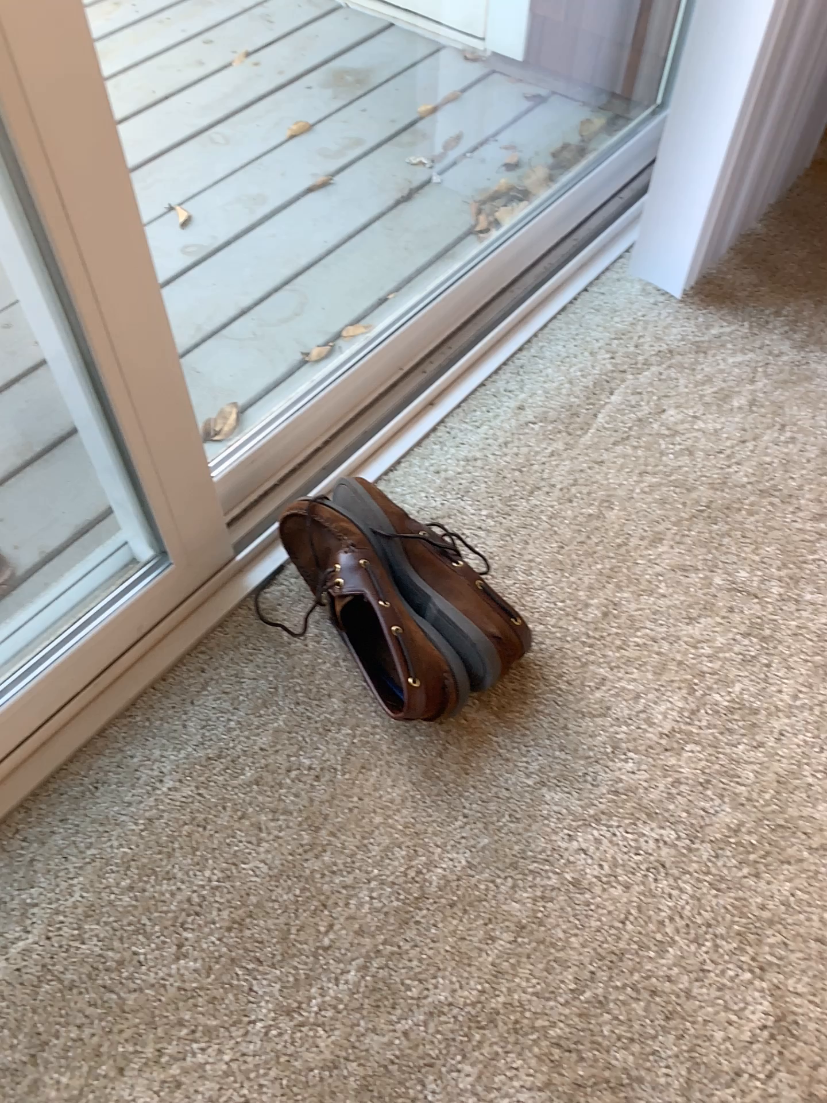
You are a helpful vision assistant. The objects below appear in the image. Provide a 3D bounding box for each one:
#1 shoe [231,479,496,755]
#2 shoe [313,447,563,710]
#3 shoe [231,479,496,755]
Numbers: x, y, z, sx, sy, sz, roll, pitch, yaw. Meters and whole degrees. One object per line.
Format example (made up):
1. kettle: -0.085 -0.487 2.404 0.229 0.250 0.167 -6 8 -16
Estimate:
1. shoe: -0.062 0.059 0.875 0.090 0.110 0.281 -23 55 -42
2. shoe: 0.016 0.022 0.904 0.090 0.110 0.271 -28 58 -34
3. shoe: -0.062 0.059 0.875 0.090 0.110 0.281 -23 55 -42
